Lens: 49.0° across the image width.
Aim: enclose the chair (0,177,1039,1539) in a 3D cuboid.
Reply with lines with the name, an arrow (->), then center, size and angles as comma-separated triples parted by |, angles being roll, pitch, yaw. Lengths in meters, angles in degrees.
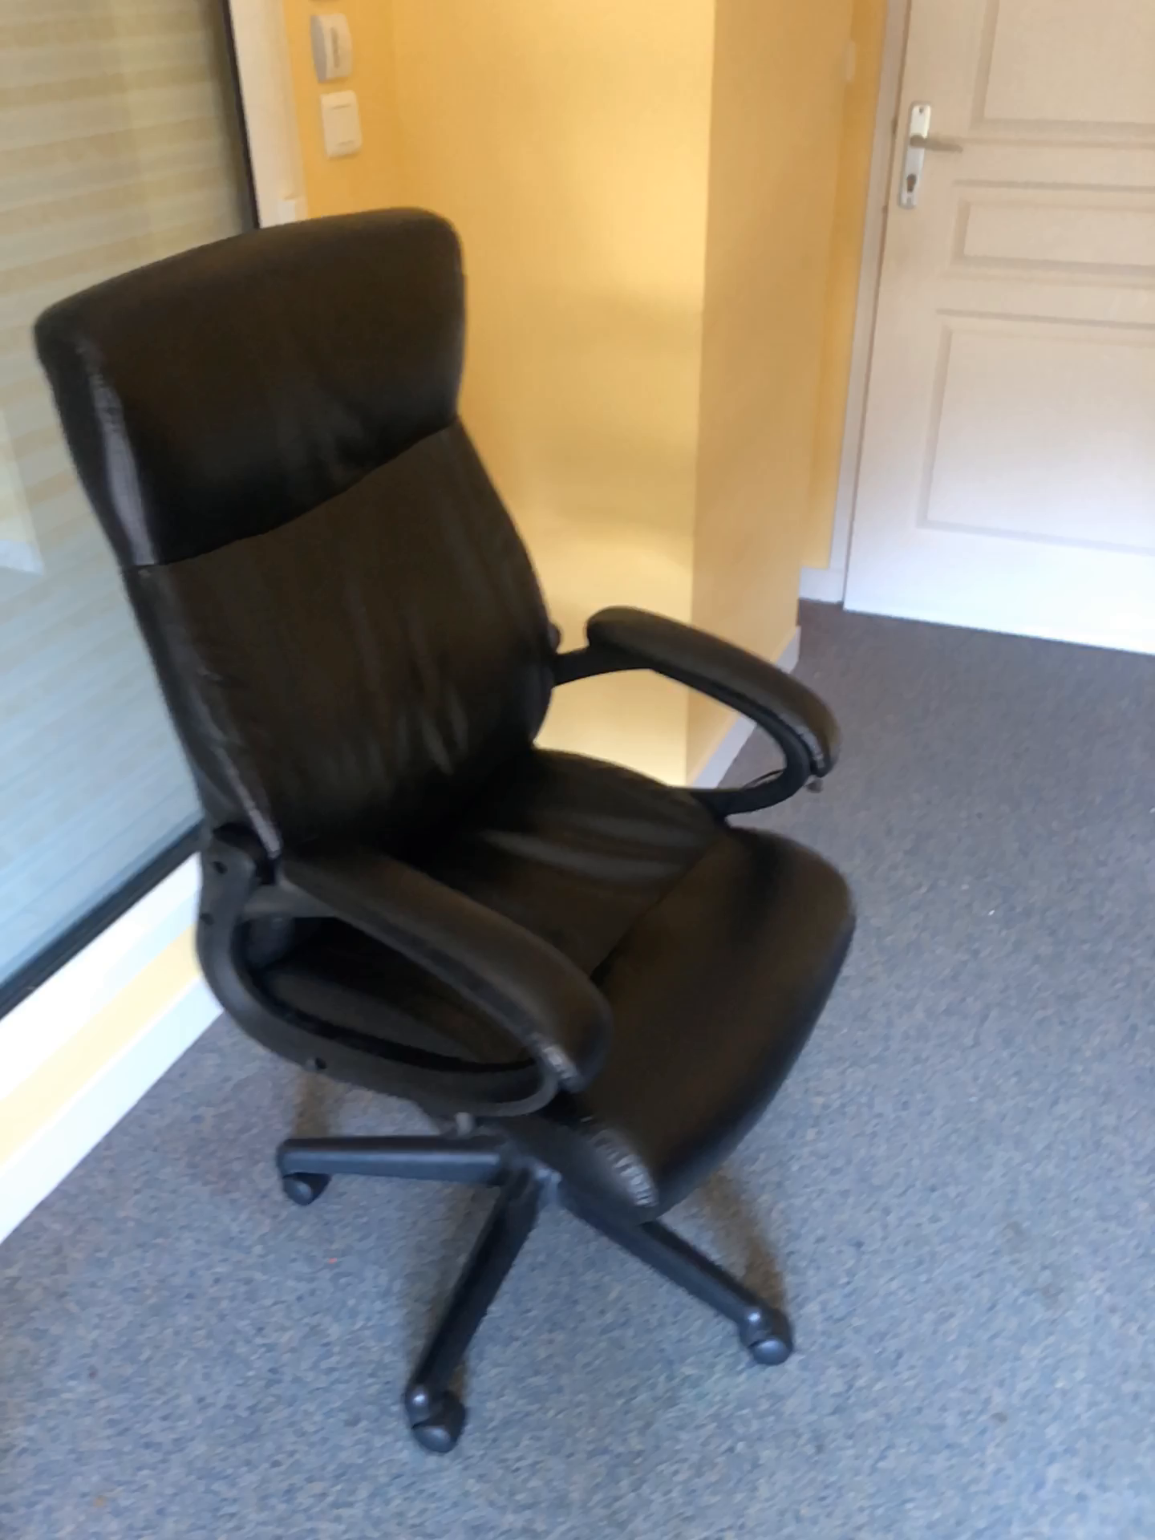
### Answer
chair -> -0.069, 0.063, 1.310 | 0.750, 1.113, 0.664 | 15, 36, 23
